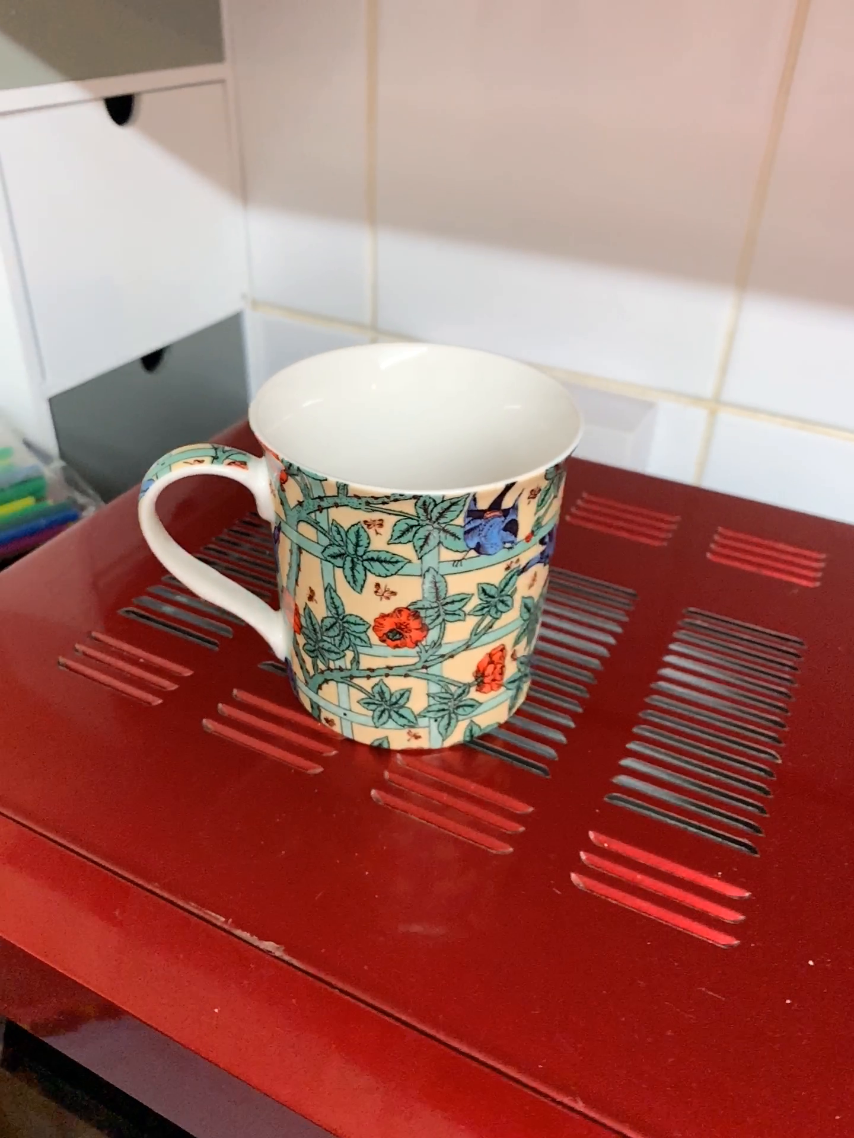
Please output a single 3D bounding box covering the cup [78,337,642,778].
[{"bbox_3d":[-0.016,-0.006,0.230,0.110,0.079,0.081,-1,35,-5],"label":"cup"}]
